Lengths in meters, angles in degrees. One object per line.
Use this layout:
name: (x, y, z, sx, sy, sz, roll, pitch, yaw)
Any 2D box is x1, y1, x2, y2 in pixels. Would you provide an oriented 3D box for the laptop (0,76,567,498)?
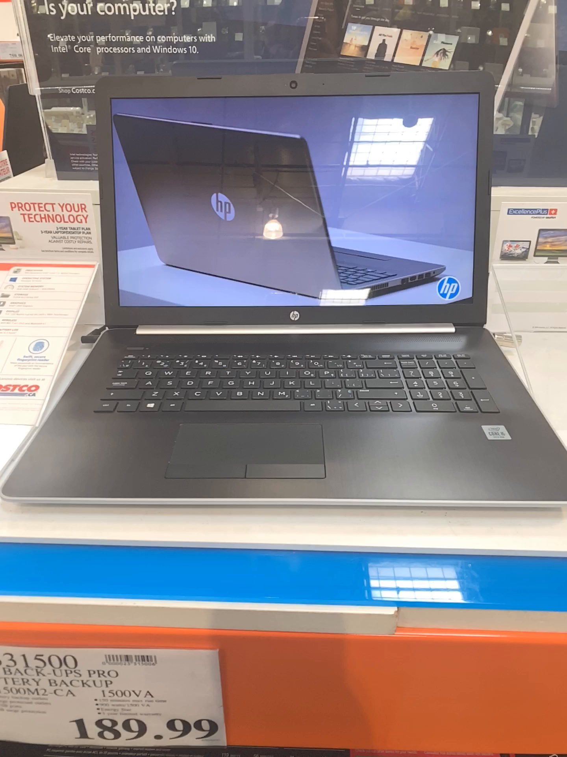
laptop: (0.014, -0.114, 0.488, 0.394, 0.234, 0.372, 0, 29, 1)
